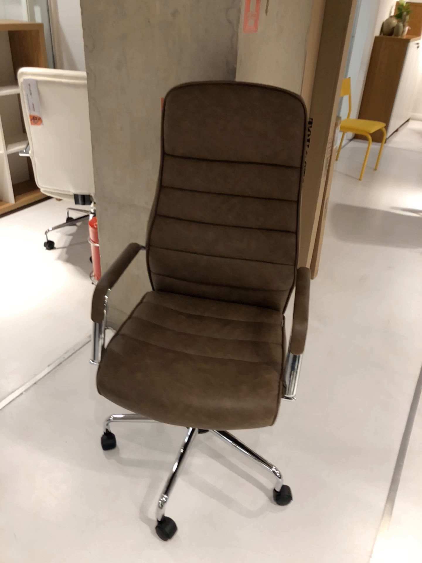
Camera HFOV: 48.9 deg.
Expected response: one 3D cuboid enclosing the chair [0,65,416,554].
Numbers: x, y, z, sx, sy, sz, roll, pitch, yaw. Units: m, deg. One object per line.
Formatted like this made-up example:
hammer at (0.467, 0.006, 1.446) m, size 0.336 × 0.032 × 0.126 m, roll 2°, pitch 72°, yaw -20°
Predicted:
chair at (0.020, 0.028, 1.196) m, size 0.640 × 0.962 × 0.635 m, roll 10°, pitch 31°, yaw 11°
